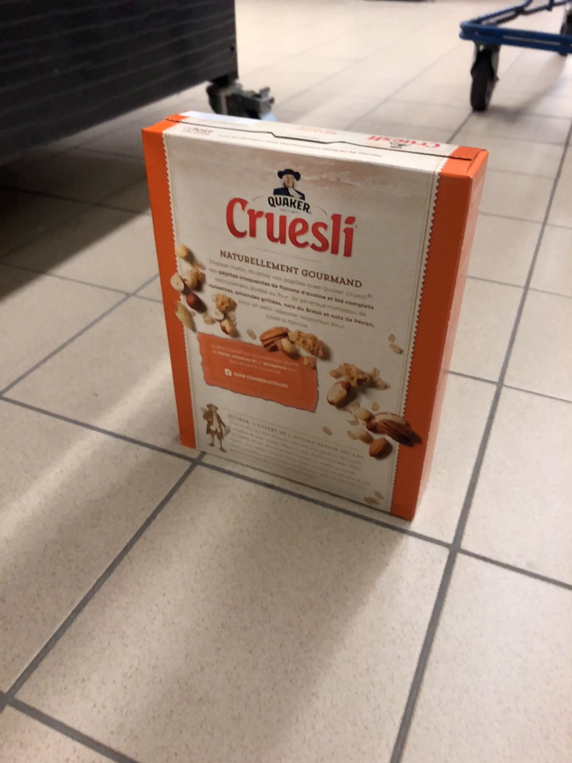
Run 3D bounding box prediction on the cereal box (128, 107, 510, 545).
[{"bbox_3d":[0.014,-0.031,0.415,0.200,0.248,0.060,15,38,20],"label":"cereal box"}]
